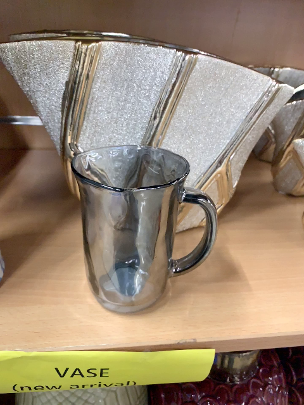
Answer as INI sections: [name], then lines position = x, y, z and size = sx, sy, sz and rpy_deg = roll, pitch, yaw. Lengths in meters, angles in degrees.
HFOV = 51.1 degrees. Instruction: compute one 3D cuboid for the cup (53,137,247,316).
[cup]
position = -0.005, 0.018, 0.236
size = 0.110, 0.110, 0.070
rpy_deg = 1, 29, -4
